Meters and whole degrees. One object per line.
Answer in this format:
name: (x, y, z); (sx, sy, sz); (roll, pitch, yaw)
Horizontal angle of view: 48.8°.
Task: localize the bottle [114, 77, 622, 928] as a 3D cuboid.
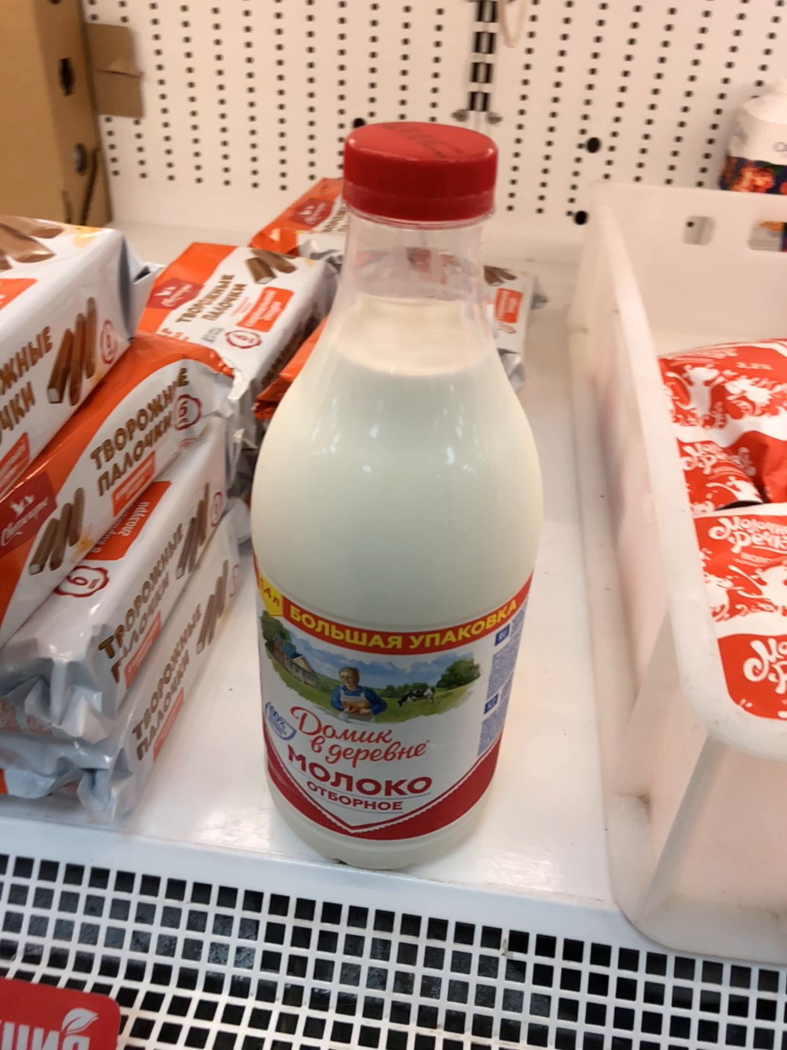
bottle: (-0.004, 0.011, 0.301); (0.110, 0.278, 0.091); (9, 37, 9)
